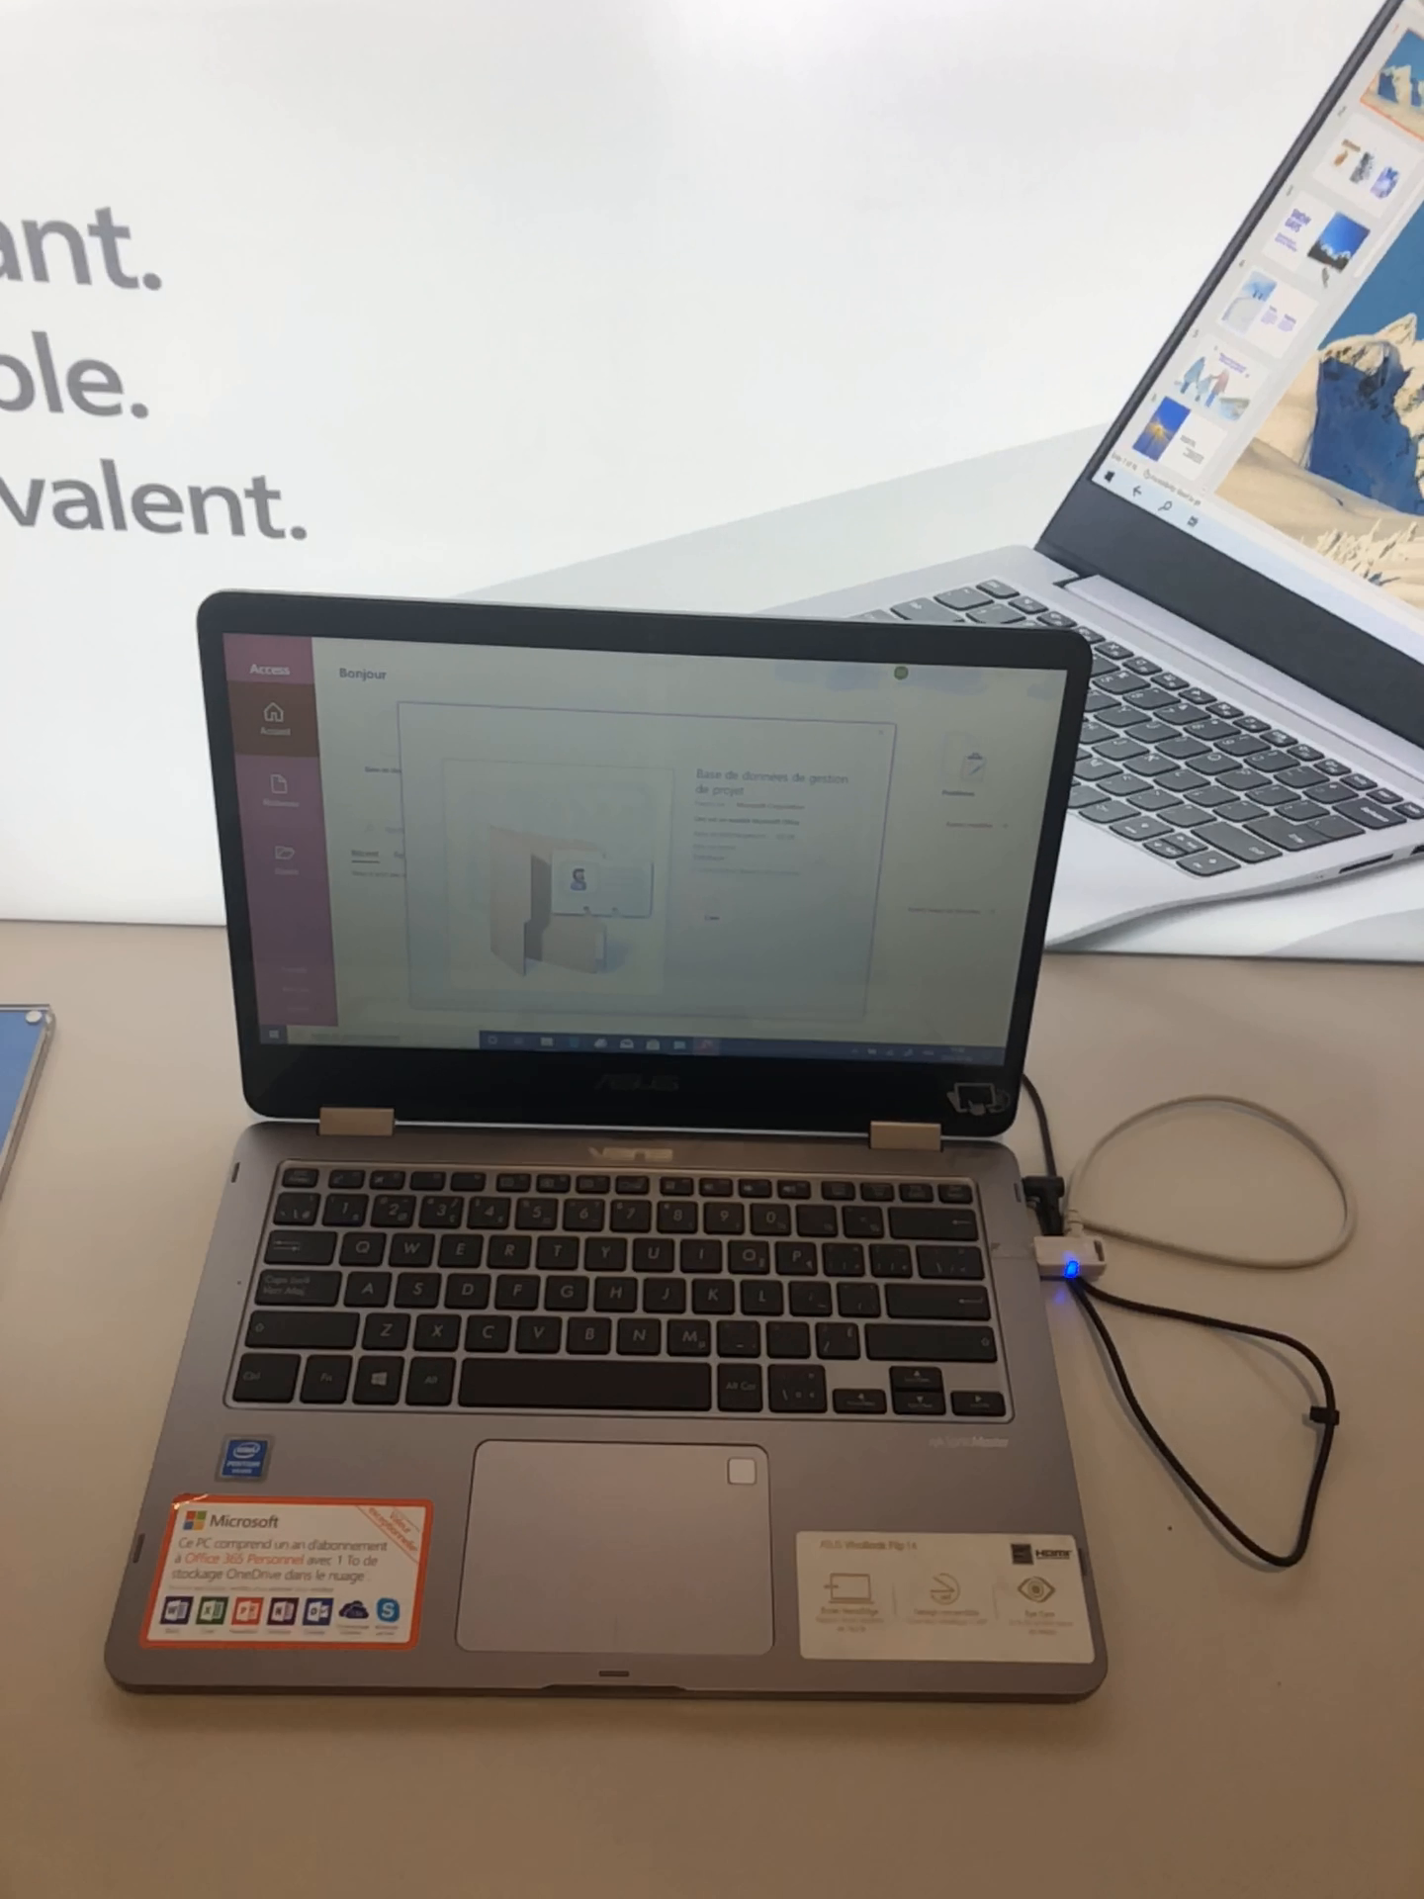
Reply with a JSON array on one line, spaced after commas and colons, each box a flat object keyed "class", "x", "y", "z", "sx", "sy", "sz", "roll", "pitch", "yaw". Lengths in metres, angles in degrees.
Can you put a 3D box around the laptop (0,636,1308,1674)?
[{"class": "laptop", "x": -0.025, "y": 0.064, "z": 0.529, "sx": 0.311, "sy": 0.214, "sz": 0.274, "roll": 2, "pitch": 43, "yaw": -3}]
